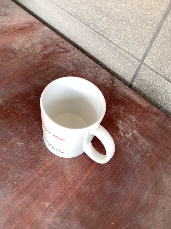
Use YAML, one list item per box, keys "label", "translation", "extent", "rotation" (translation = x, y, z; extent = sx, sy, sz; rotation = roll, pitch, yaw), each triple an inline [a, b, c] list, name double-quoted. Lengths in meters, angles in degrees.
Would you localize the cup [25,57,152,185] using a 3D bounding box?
- label: "cup"
  translation: [-0.001, 0.010, 0.247]
  extent: [0.120, 0.100, 0.090]
  rotation: [39, 58, 16]
